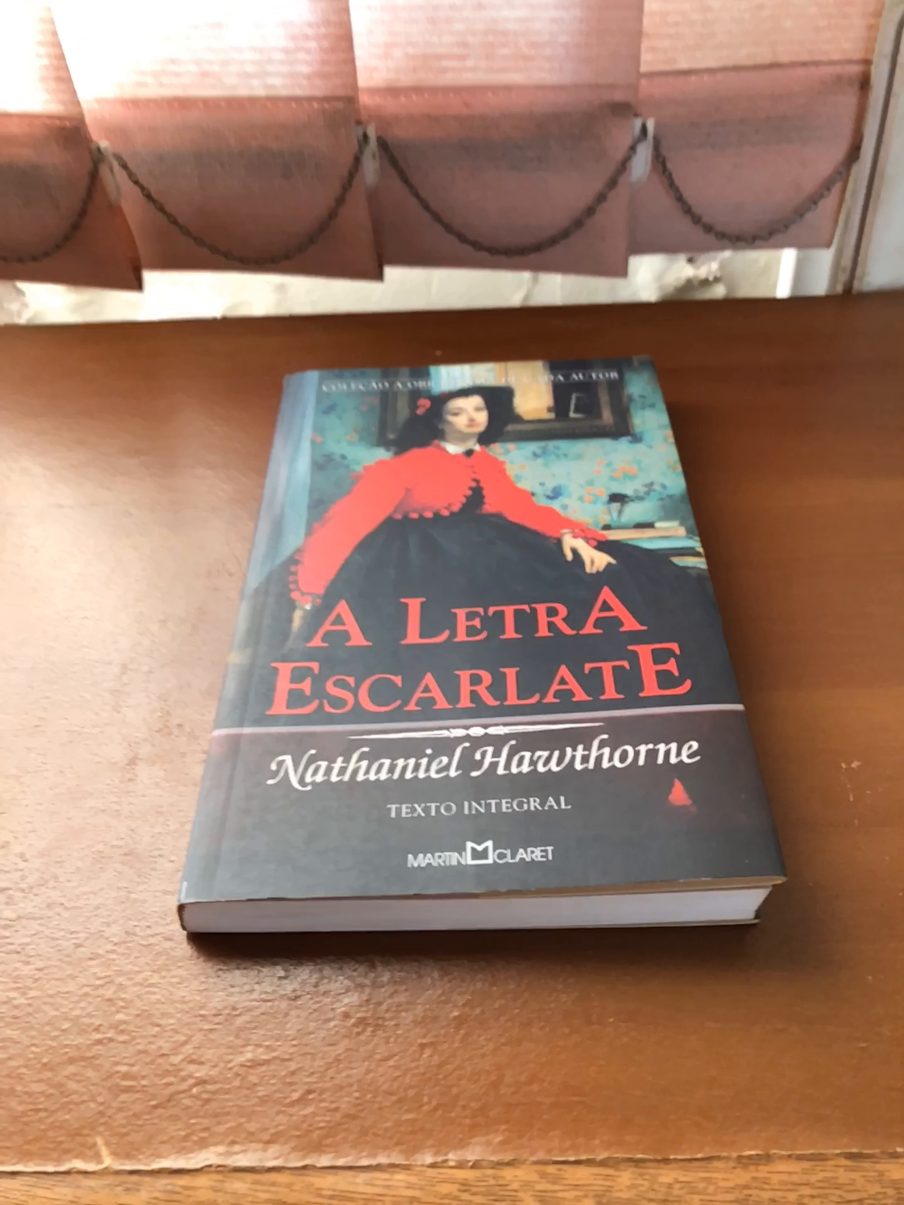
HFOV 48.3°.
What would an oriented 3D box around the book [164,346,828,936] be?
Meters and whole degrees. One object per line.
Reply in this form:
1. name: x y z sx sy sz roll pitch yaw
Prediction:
1. book: 0.008 -0.006 0.234 0.111 0.015 0.167 -2 45 3
